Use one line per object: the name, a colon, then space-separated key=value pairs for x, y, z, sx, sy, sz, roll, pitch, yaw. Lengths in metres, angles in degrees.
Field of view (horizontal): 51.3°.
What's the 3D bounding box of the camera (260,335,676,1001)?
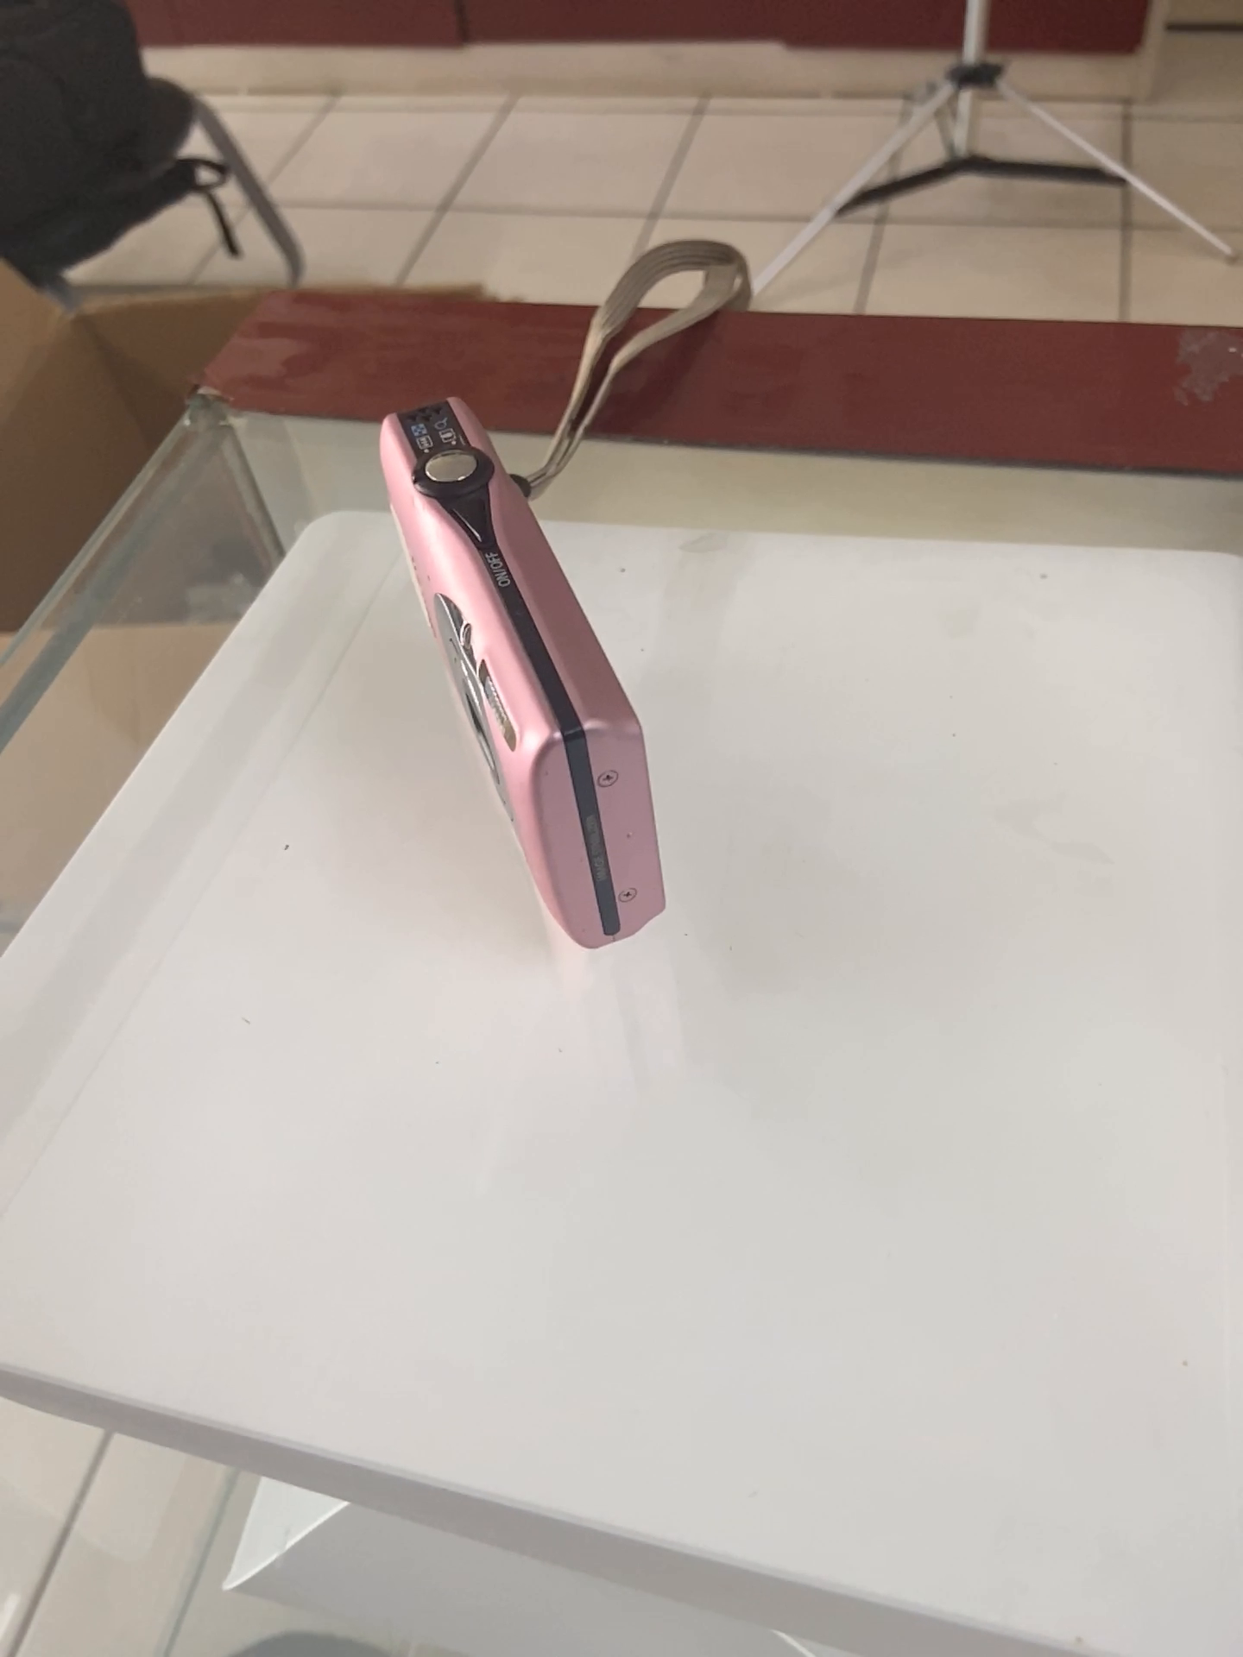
camera: x=-0.026 y=-0.029 z=0.214 sx=0.030 sy=0.050 sz=0.100 roll=-21 pitch=55 yaw=-9
